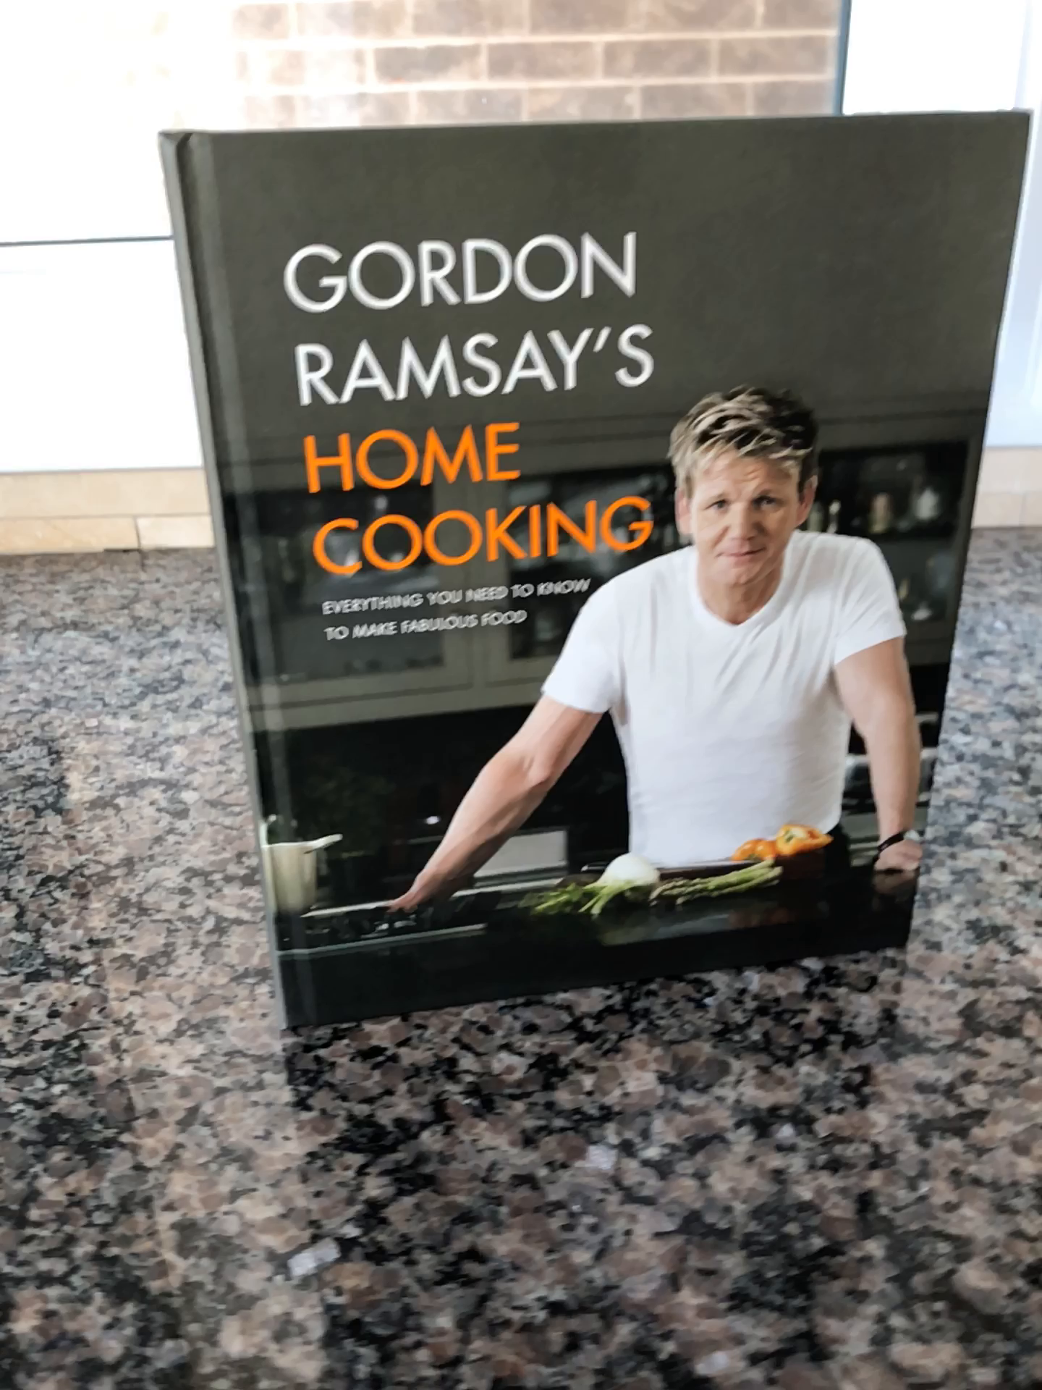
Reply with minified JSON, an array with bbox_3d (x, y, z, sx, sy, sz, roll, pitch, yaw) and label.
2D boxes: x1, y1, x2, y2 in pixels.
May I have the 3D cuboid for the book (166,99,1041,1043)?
[{"bbox_3d":[0.029,-0.025,0.340,0.217,0.261,0.028,-6,25,-9],"label":"book"}]
